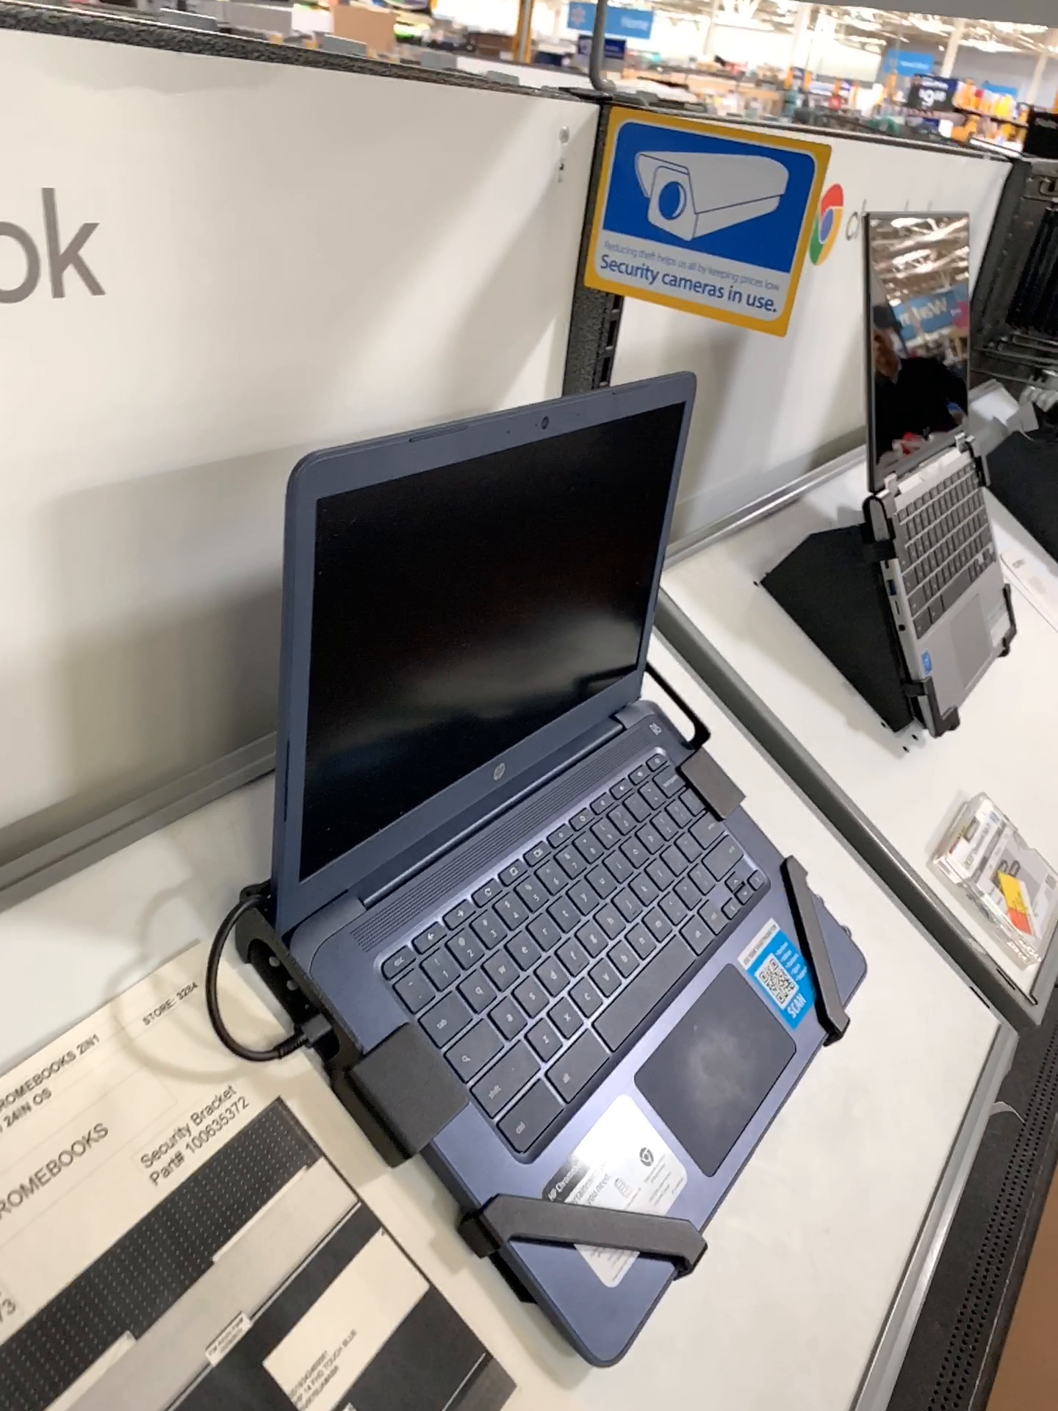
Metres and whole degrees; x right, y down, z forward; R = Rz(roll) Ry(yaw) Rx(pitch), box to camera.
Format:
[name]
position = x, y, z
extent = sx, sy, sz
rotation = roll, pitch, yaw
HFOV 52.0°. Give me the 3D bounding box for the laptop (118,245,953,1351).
[laptop]
position = 0.025, -0.004, 0.539
extent = 0.322, 0.189, 0.318
rotation = 44, 39, 14
